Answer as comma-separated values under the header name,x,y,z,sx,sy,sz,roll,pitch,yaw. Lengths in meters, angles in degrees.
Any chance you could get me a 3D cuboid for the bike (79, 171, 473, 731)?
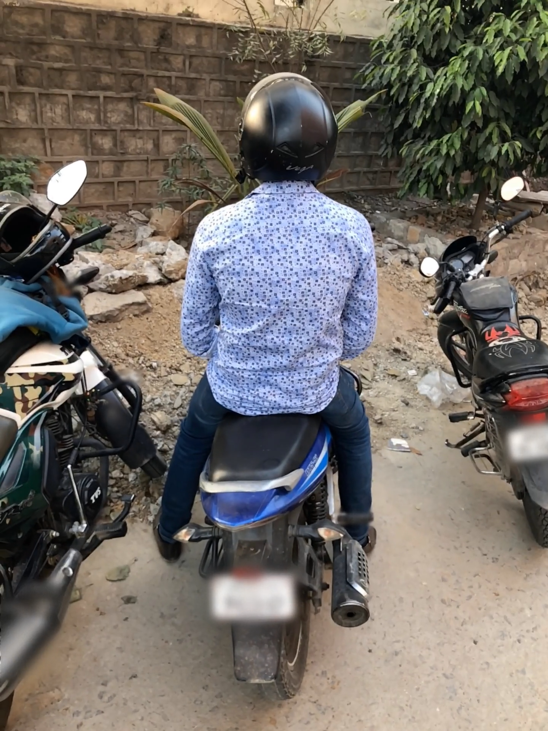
name,x,y,z,sx,sy,sz,roll,pitch,yaw
bike,0.006,0.115,2.074,0.753,1.077,1.585,6,30,1
